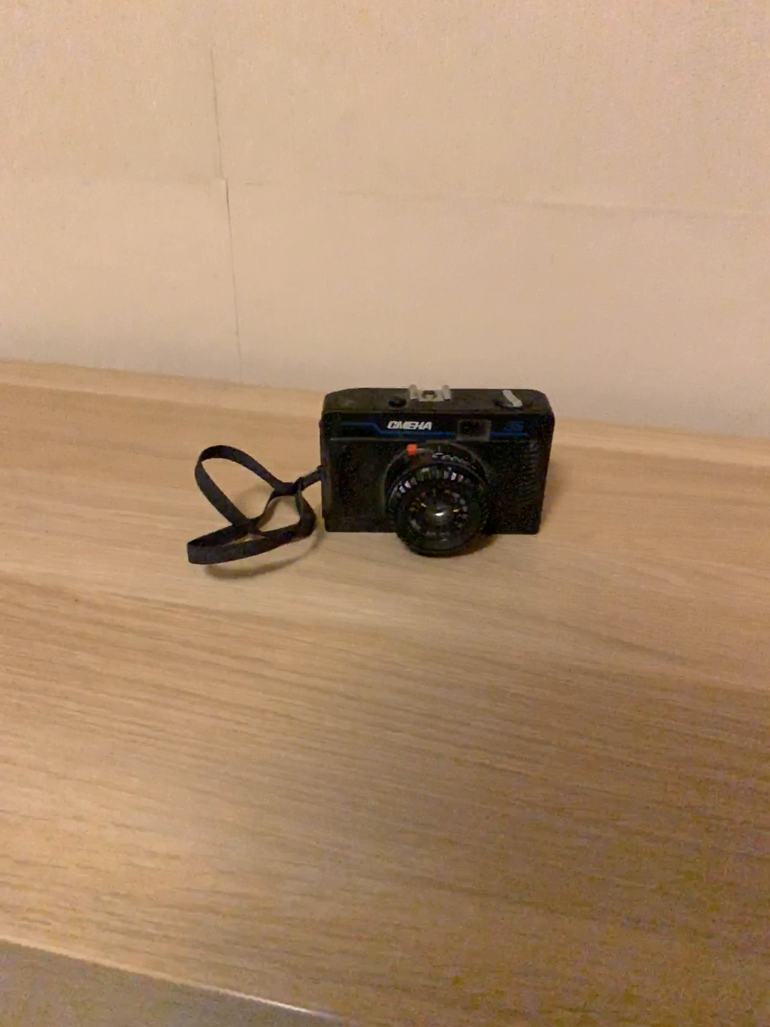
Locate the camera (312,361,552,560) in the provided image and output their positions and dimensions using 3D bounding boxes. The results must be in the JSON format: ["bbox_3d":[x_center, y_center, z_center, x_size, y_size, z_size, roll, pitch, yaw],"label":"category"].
[{"bbox_3d":[0.021,-0.026,0.405,0.110,0.089,0.040,2,35,1],"label":"camera"}]
